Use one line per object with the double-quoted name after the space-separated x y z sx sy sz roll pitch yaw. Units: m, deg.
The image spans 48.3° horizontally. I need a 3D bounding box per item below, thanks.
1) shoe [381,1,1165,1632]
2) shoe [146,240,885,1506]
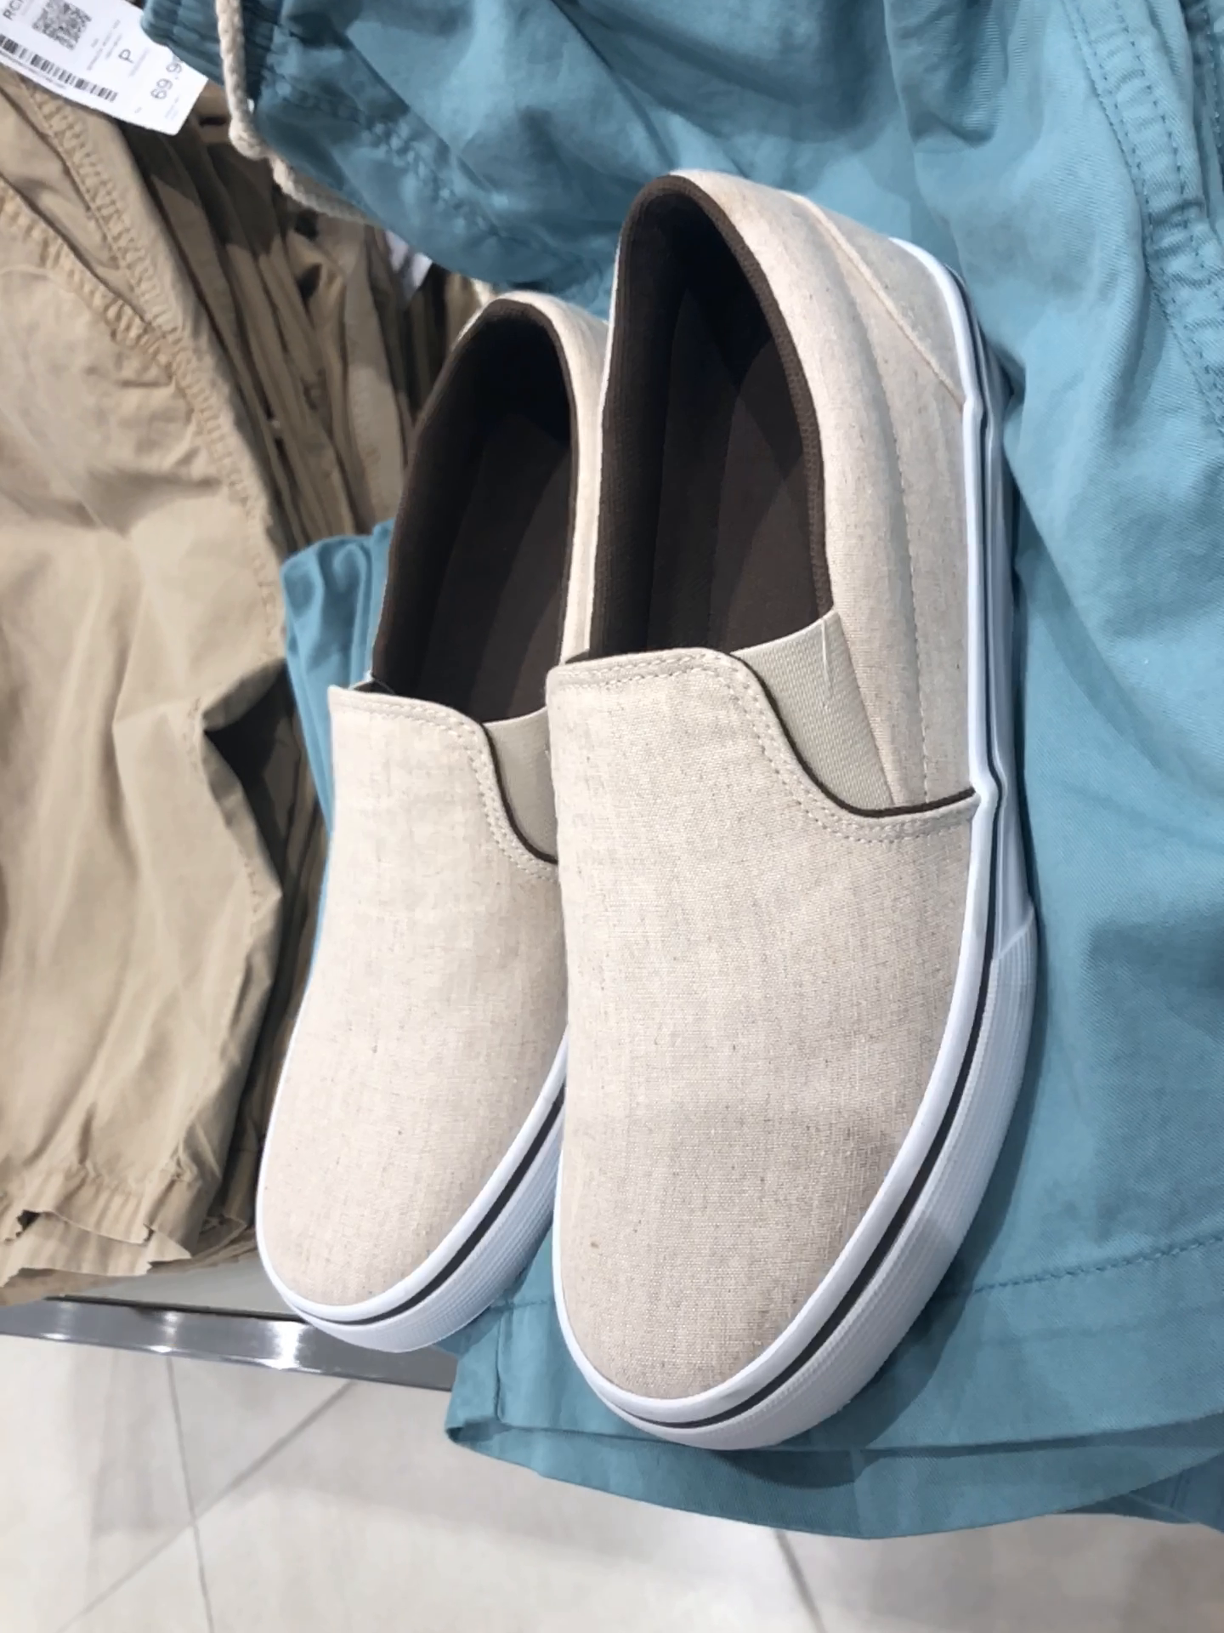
0.038 0.002 0.271 0.100 0.090 0.260 -3 77 43 "shoe"
-0.023 0.011 0.342 0.100 0.090 0.260 8 84 45 "shoe"
